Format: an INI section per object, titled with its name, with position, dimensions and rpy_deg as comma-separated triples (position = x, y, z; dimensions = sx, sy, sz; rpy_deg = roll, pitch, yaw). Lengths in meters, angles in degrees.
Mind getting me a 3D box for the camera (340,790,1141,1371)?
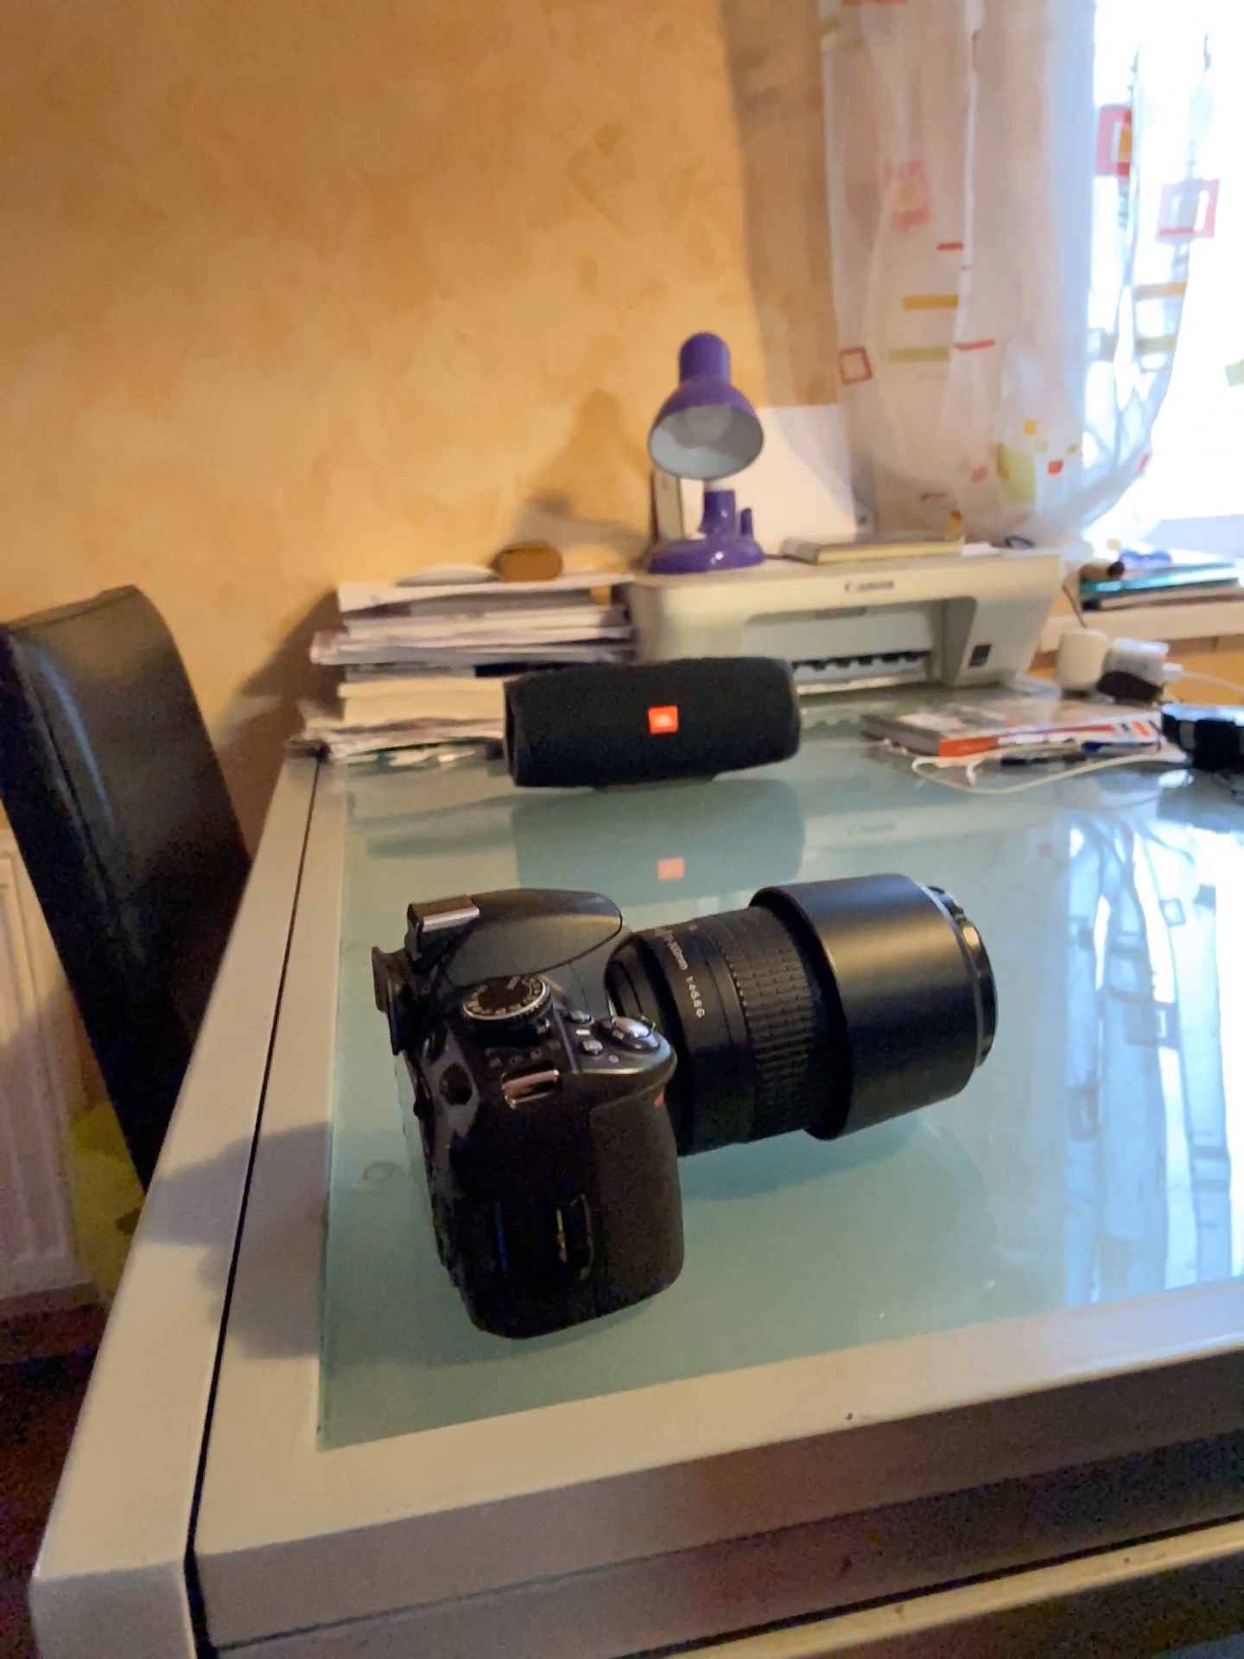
[camera]
position = 0.029, 0.061, 0.402
dimensions = 0.208, 0.100, 0.135
rpy_deg = -7, 14, -16
